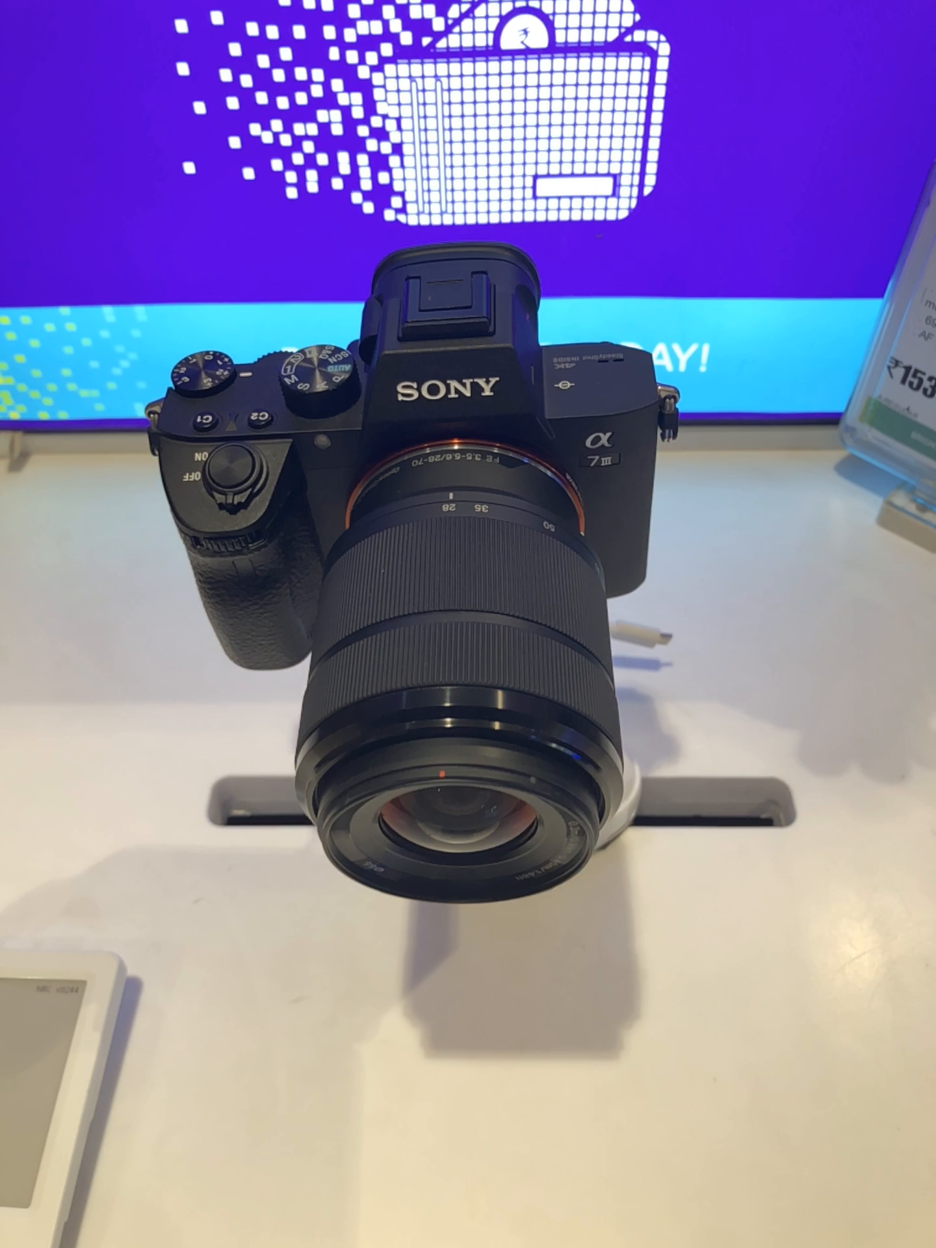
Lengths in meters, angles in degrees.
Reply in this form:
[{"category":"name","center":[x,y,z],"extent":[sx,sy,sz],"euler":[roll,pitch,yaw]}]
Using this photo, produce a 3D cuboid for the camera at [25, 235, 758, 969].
[{"category":"camera","center":[-0.018,-0.007,0.254],"extent":[0.120,0.109,0.128],"euler":[-5,48,-4]}]
